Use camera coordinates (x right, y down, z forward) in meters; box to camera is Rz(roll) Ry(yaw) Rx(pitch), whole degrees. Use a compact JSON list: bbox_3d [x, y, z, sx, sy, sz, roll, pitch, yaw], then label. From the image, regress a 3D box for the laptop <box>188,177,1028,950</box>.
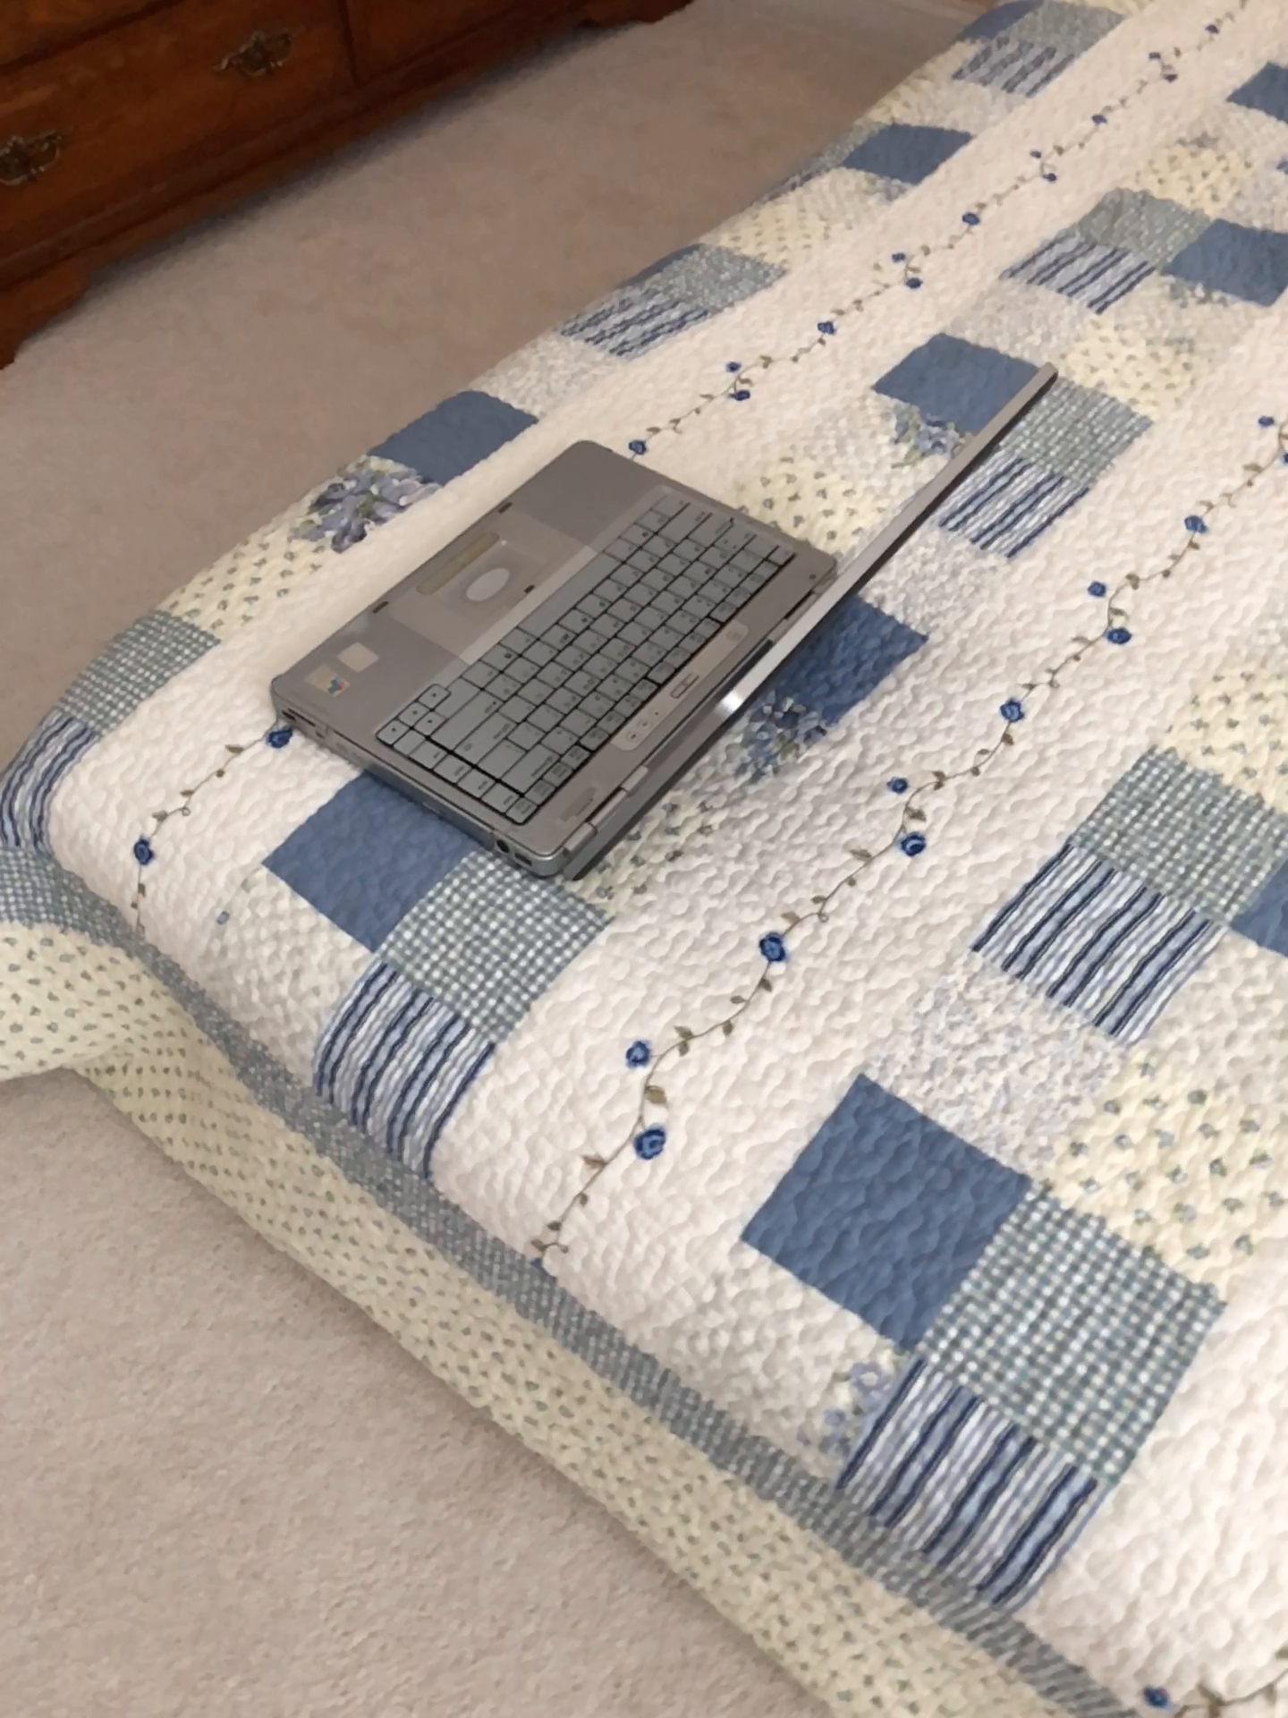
[{"bbox_3d":[-0.011,-0.192,0.842,0.327,0.193,0.323,31,57,20],"label":"laptop"}]
